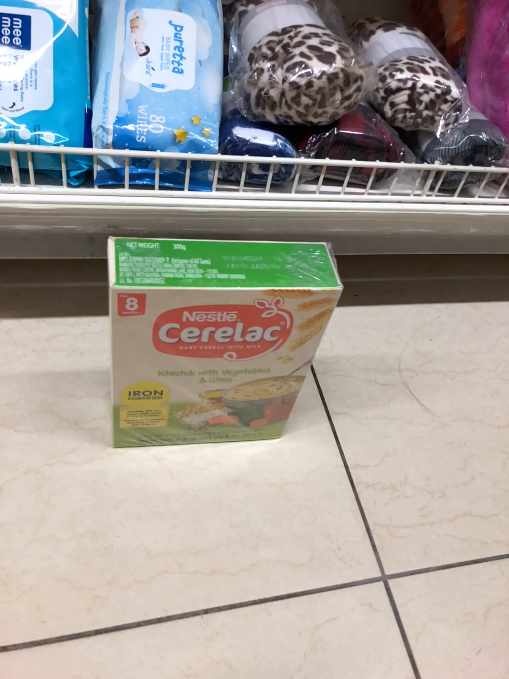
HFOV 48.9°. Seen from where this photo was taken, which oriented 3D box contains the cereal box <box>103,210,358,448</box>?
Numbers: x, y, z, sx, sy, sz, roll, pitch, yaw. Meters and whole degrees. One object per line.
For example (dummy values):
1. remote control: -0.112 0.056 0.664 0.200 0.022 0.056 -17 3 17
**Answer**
1. cereal box: -0.034 0.003 0.437 0.160 0.199 0.060 -1 50 -15
